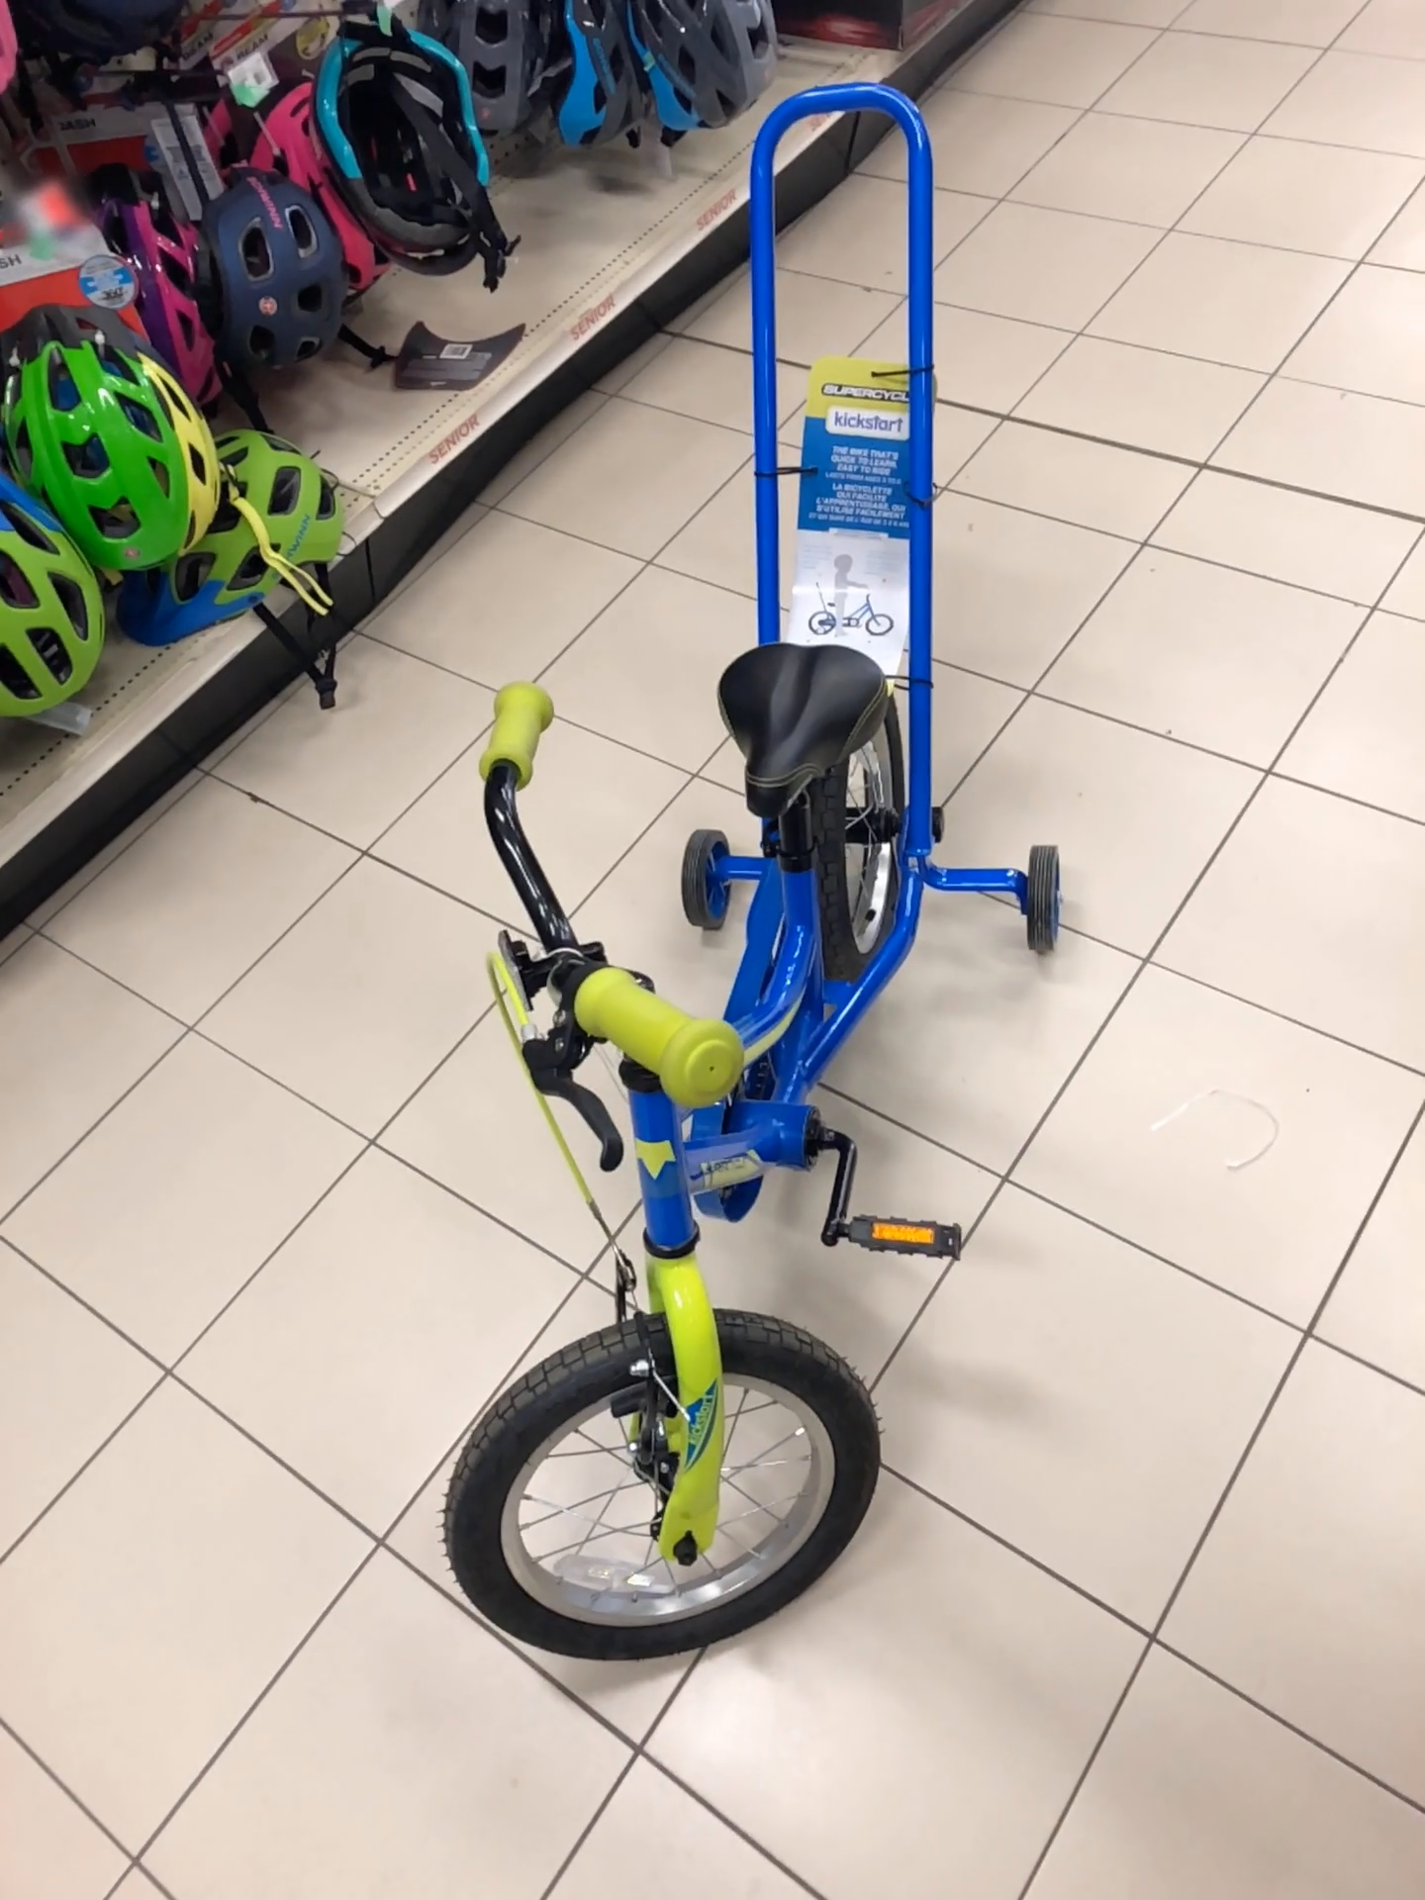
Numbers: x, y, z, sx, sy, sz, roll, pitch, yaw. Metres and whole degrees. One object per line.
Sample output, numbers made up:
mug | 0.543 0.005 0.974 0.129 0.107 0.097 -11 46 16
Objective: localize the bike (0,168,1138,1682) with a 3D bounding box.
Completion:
bike | -0.078 -0.035 1.270 0.539 0.763 0.955 13 55 21
